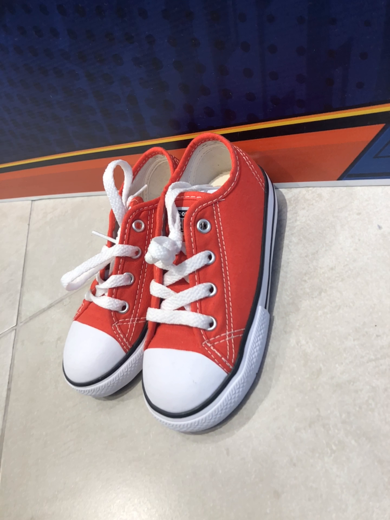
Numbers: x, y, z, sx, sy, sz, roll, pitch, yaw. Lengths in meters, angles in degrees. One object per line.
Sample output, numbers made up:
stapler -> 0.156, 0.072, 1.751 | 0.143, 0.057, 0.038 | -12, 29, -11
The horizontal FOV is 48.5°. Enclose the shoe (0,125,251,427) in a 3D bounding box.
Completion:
shoe -> -0.042, 0.004, 0.311 | 0.080, 0.070, 0.190 | 7, 63, 41

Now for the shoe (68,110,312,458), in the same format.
shoe -> 0.008, 0.008, 0.273 | 0.080, 0.070, 0.190 | -3, 57, 36
